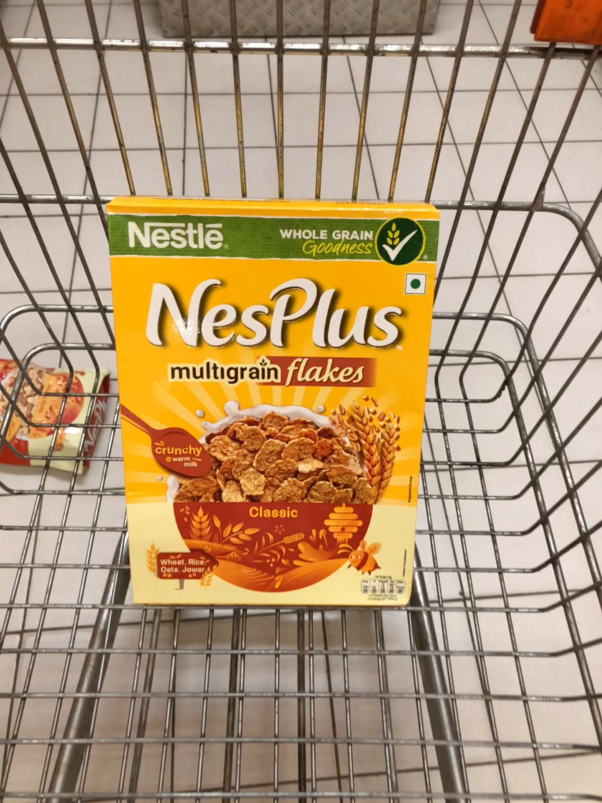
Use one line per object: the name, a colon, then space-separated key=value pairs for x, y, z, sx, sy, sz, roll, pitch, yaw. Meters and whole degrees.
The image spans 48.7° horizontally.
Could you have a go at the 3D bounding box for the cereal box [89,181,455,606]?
cereal box: x=-0.018 y=-0.006 z=0.424 sx=0.190 sy=0.249 sz=0.090 roll=1 pitch=16 yaw=-2
